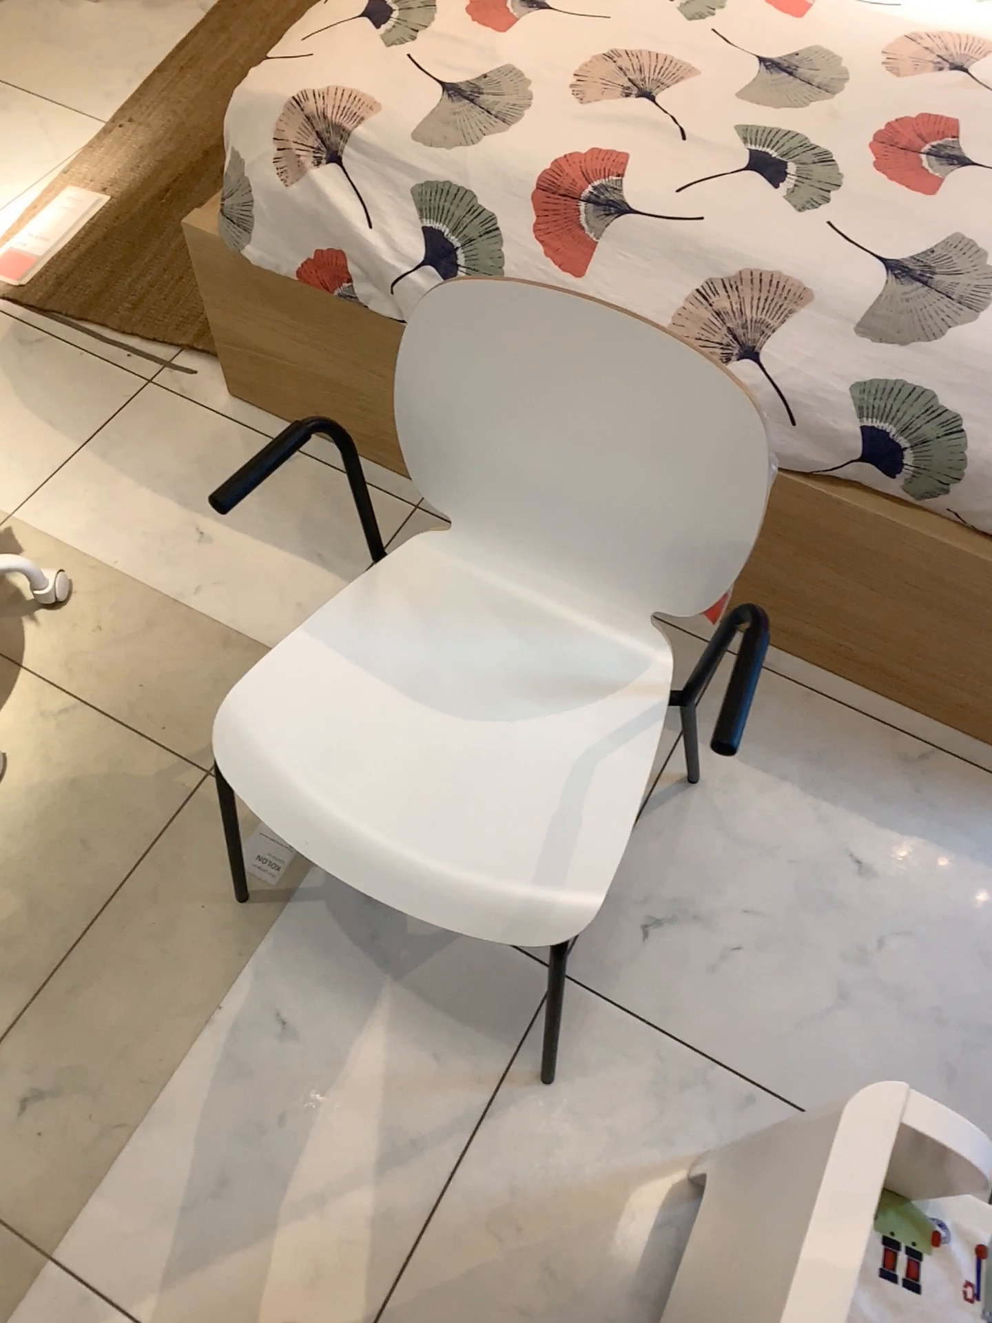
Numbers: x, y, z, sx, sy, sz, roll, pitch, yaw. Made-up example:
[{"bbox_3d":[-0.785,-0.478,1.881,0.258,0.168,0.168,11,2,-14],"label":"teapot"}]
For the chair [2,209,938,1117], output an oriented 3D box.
[{"bbox_3d":[-0.001,0.053,1.102,0.550,0.699,0.541,26,62,13],"label":"chair"}]
